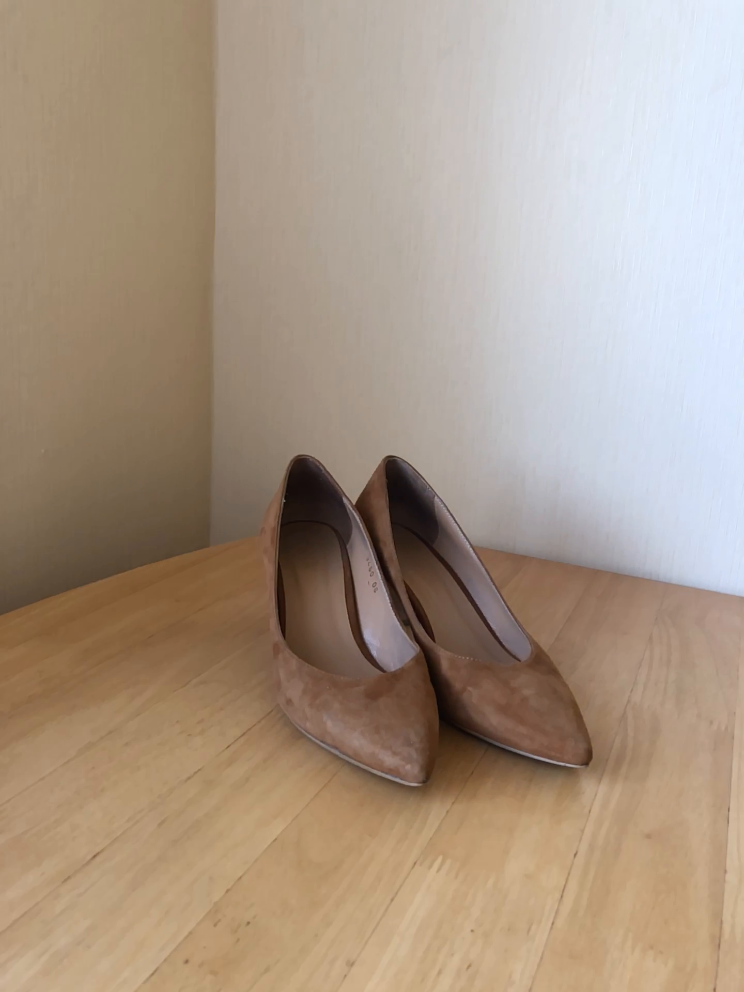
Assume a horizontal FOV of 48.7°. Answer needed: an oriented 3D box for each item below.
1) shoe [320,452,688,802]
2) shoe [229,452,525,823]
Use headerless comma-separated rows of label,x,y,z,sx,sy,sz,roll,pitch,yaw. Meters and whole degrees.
shoe,0.057,0.055,0.507,0.089,0.110,0.261,-3,16,-23
shoe,-0.017,0.056,0.474,0.089,0.110,0.251,-2,15,-19
